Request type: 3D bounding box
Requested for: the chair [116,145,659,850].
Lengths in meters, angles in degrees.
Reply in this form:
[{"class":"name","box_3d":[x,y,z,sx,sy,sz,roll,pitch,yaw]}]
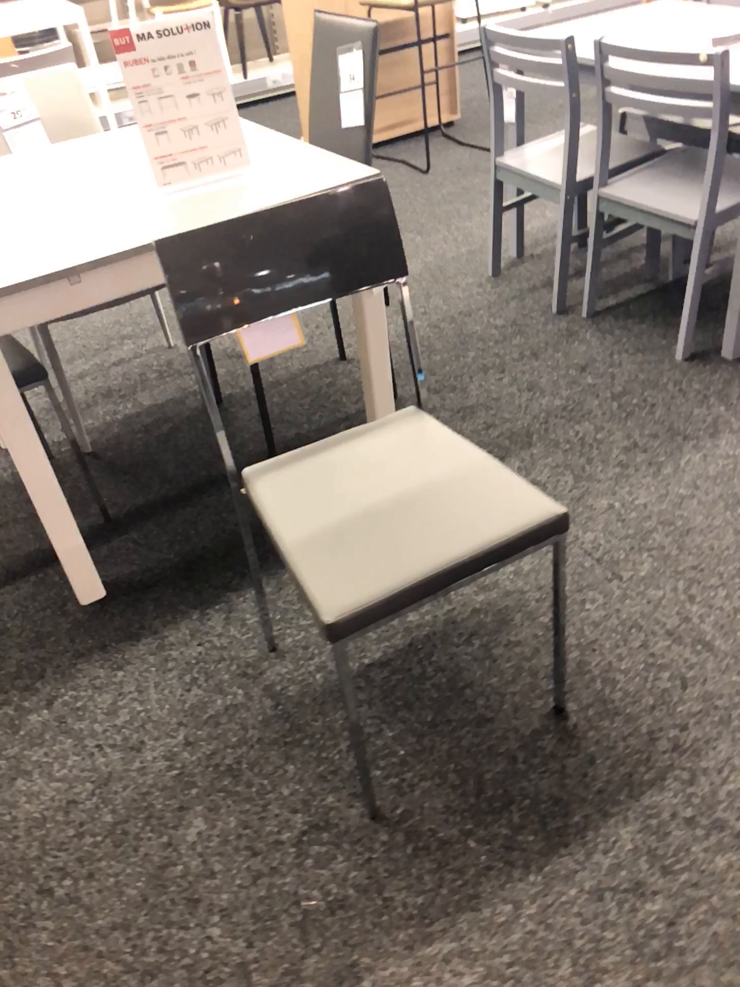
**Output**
[{"class":"chair","box_3d":[0.028,-0.002,1.295,0.491,0.855,0.552,-23,40,-19]}]
